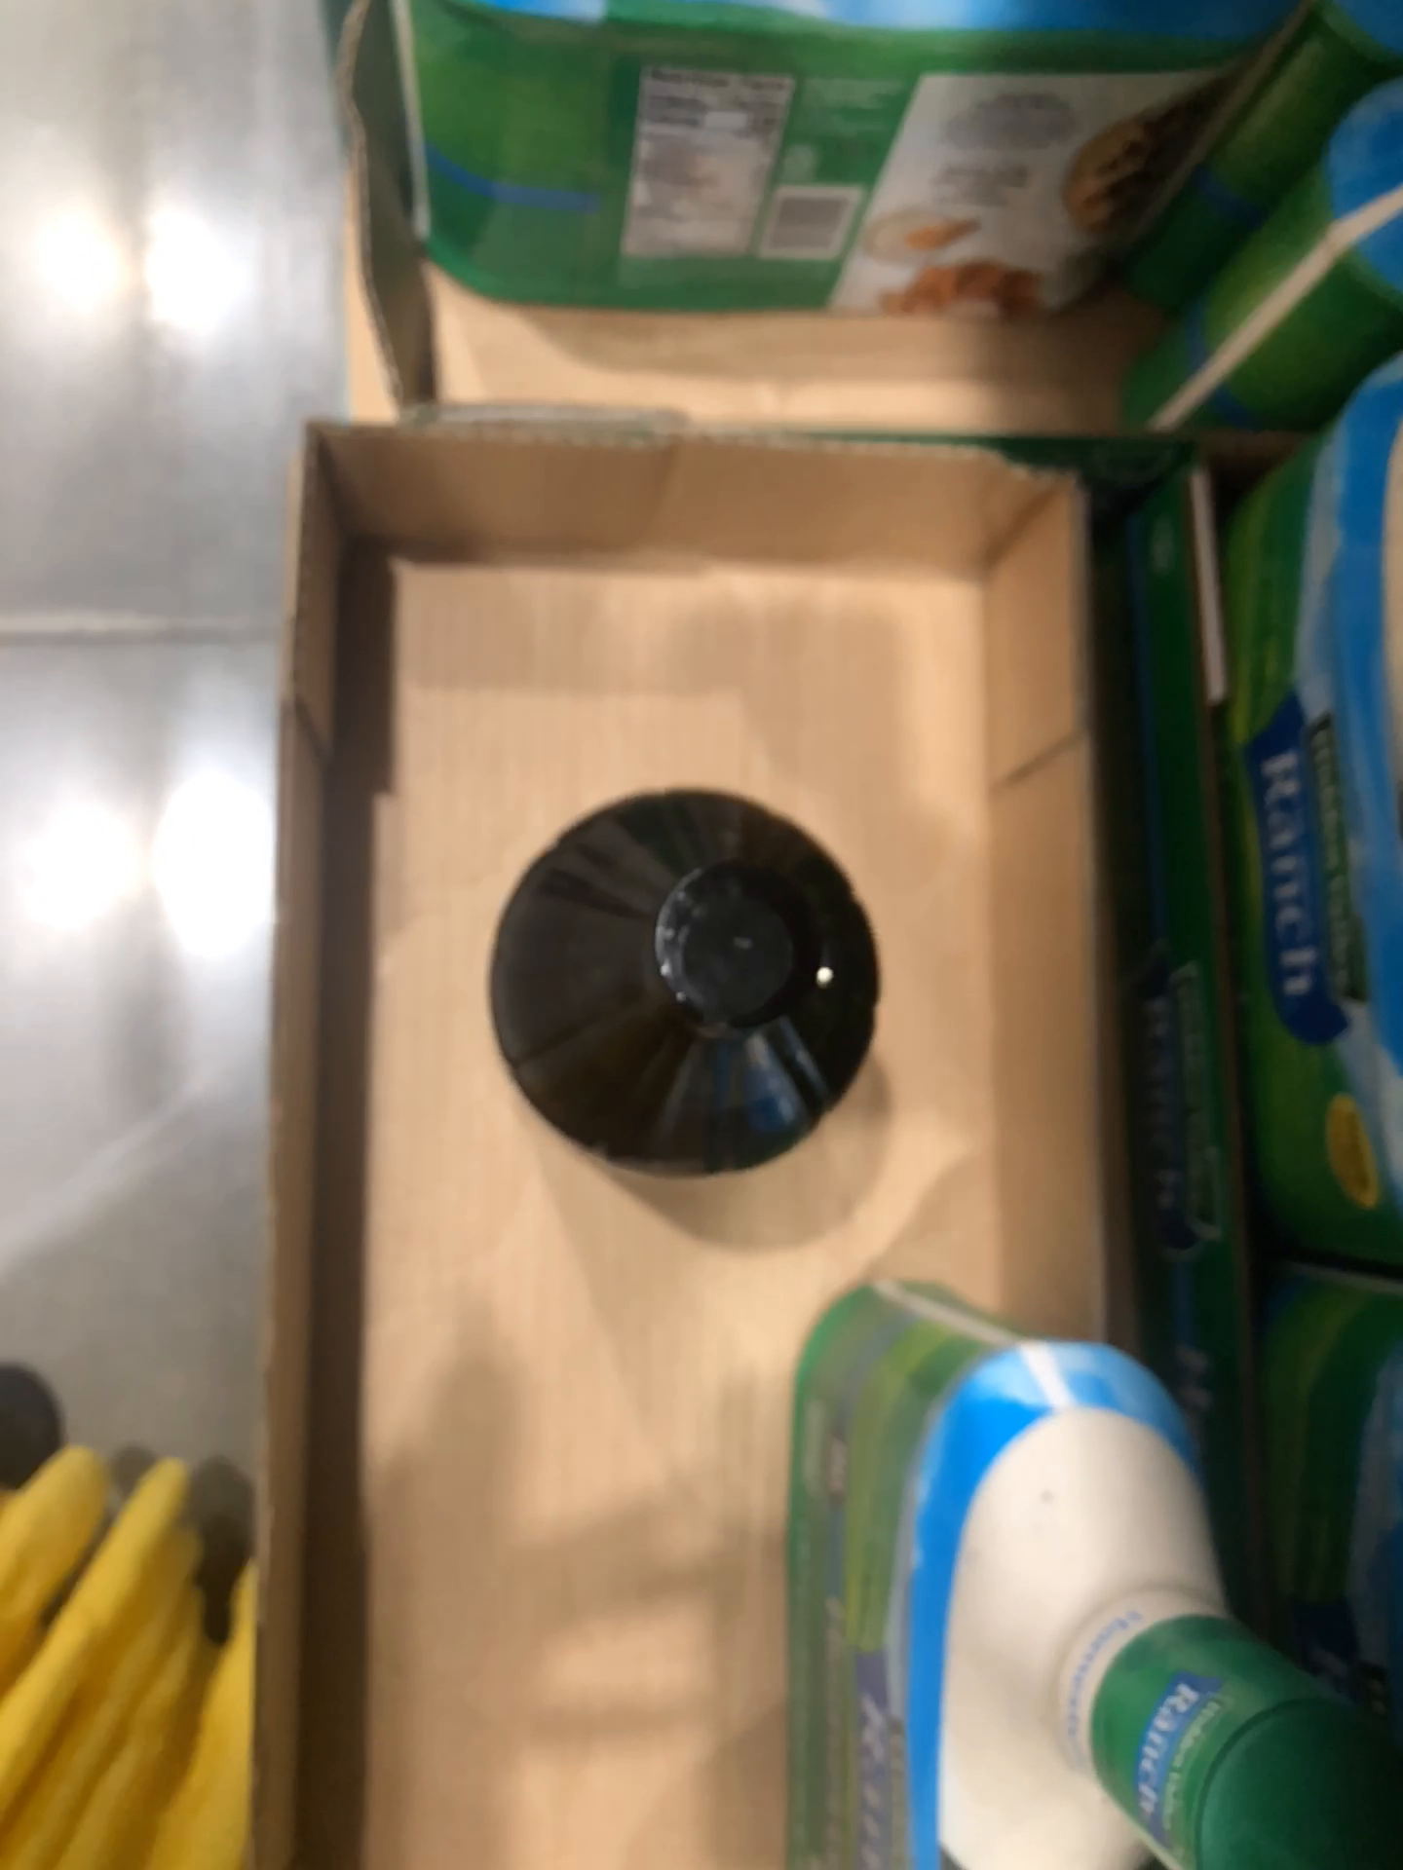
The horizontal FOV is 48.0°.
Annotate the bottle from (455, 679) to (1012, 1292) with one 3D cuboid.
[{"bbox_3d":[-0.008,0.022,0.402,0.090,0.230,0.100,9,82,-7],"label":"bottle"}]
